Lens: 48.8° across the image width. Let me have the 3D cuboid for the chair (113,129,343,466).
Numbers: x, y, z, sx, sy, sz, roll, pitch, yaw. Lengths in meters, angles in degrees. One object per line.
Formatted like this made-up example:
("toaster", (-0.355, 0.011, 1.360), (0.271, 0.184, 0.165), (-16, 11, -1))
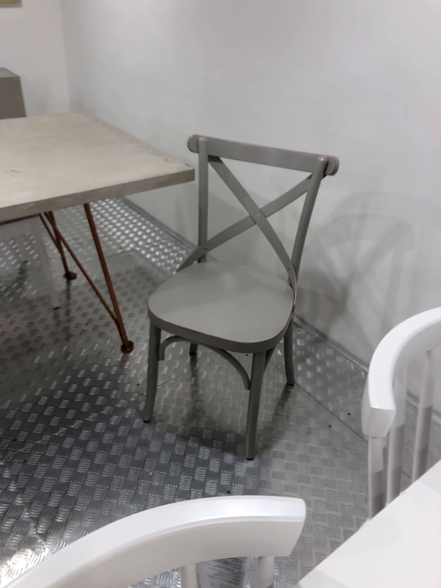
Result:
("chair", (0.030, 0.000, 1.619), (0.510, 0.893, 0.504), (14, 34, 17))
